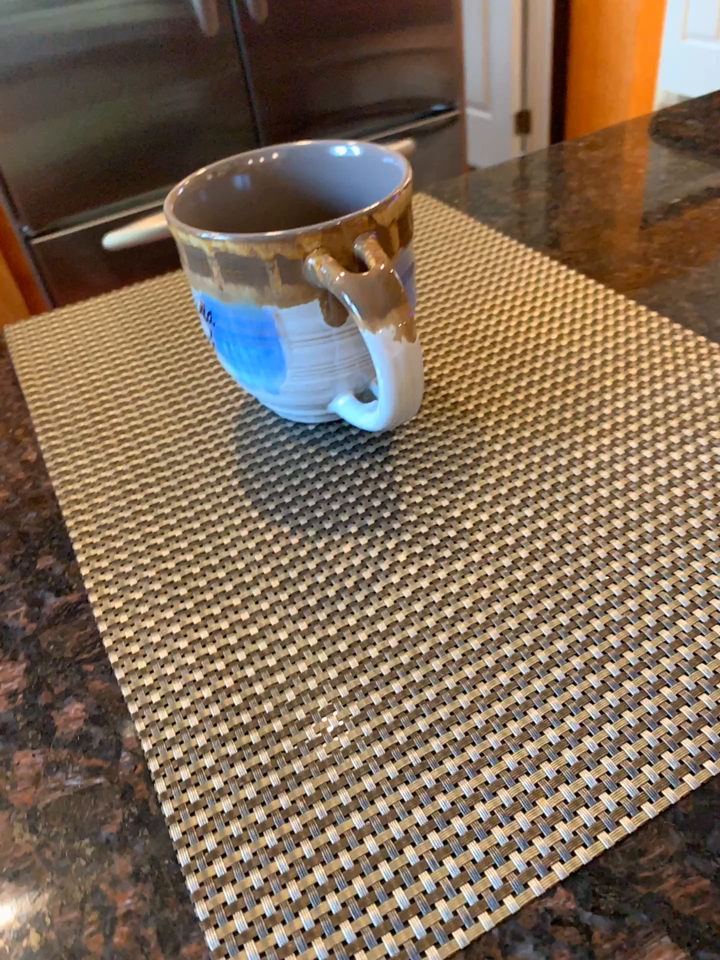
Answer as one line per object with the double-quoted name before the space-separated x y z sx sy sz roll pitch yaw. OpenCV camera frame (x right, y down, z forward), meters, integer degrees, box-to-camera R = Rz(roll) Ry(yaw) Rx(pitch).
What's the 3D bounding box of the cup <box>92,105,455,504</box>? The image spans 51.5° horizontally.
"cup" -0.041 -0.084 0.318 0.100 0.089 0.151 -20 42 -12
